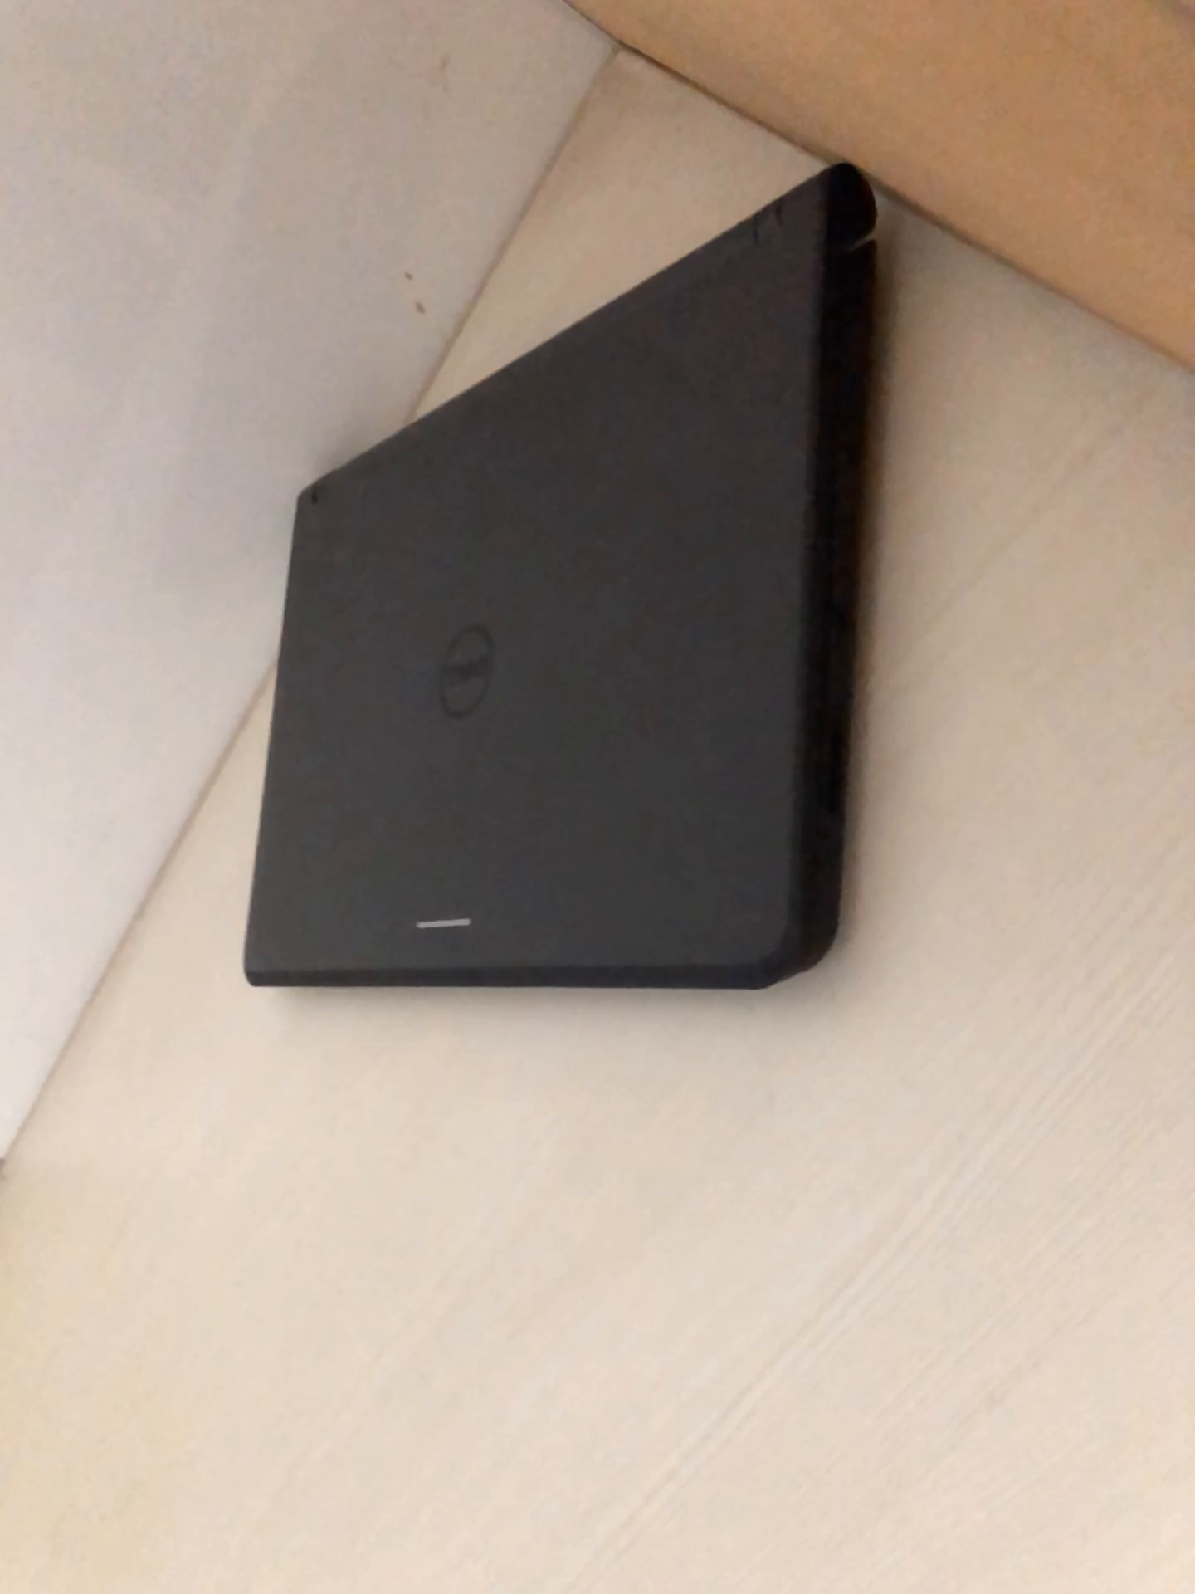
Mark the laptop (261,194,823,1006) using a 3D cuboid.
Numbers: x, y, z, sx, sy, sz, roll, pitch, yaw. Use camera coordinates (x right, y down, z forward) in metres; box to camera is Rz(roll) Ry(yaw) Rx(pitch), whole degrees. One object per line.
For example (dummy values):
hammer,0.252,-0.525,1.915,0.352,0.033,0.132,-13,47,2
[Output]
laptop,-0.037,-0.047,0.462,0.292,0.007,0.227,-10,70,51
